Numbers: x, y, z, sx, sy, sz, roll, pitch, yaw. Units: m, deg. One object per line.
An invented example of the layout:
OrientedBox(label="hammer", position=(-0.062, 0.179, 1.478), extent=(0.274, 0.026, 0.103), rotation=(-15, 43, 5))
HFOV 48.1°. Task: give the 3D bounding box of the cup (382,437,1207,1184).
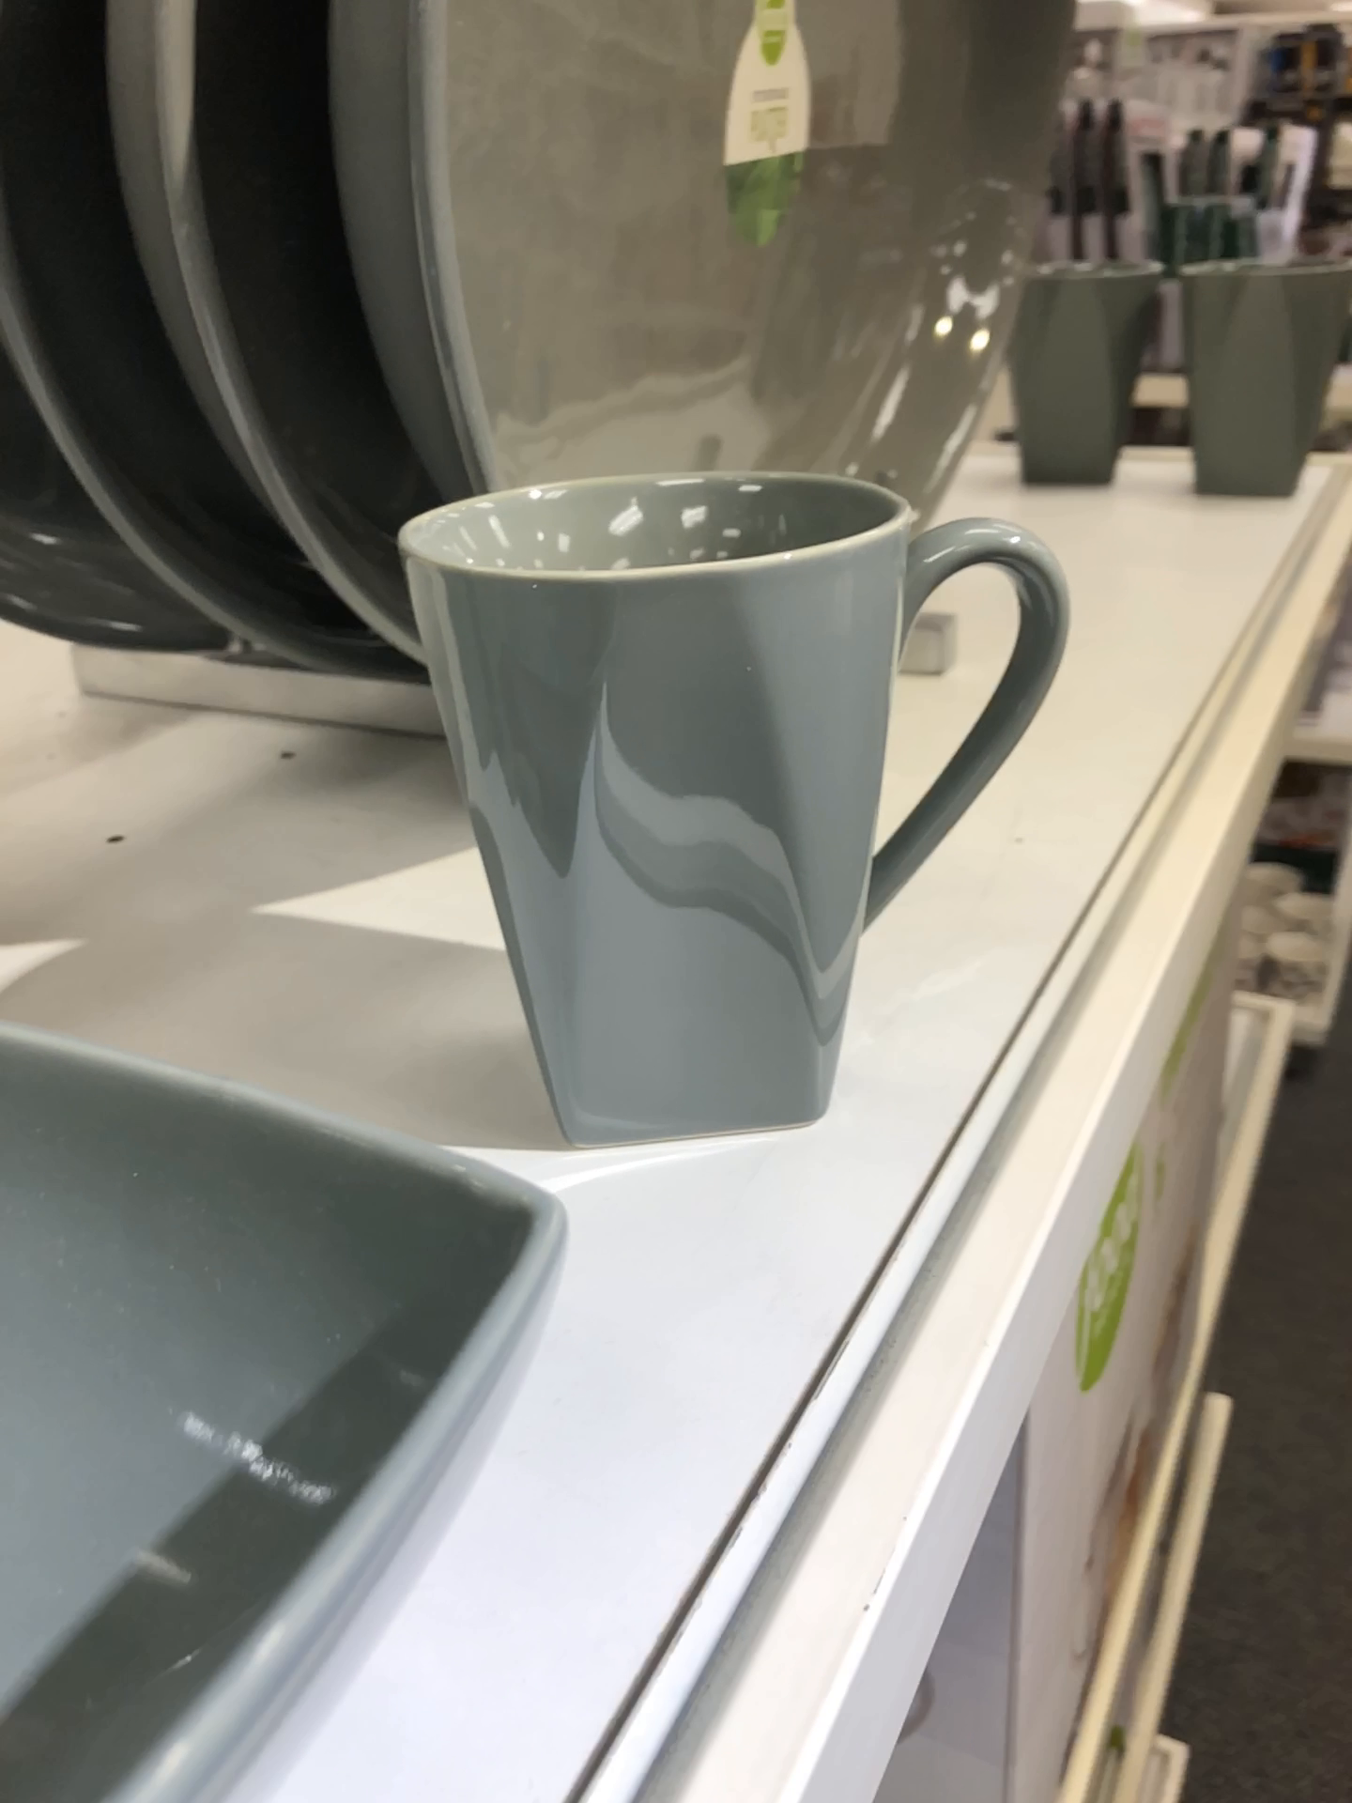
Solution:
OrientedBox(label="cup", position=(0.013, -0.024, 0.277), extent=(0.118, 0.097, 0.100), rotation=(-5, 25, -7))
